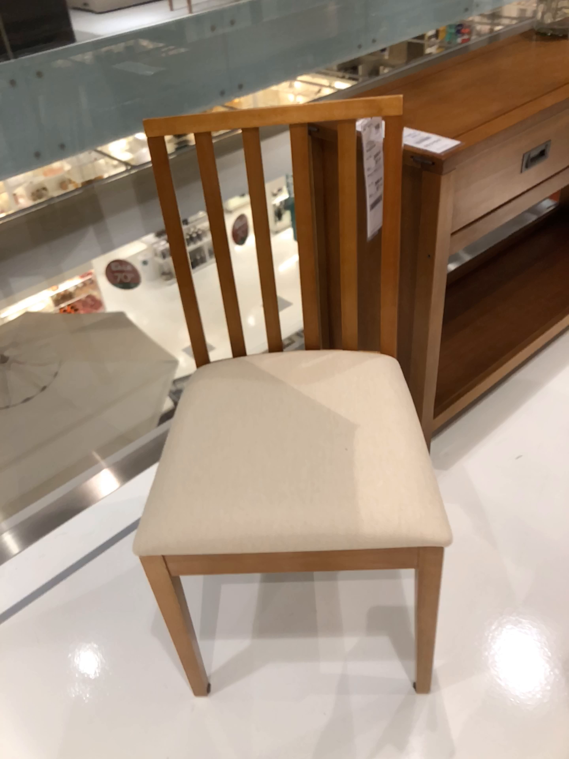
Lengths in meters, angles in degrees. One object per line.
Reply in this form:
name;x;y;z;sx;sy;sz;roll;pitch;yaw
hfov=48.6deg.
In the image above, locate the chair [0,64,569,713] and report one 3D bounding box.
chair;0.018;0.049;0.999;0.540;0.834;0.554;-4;39;3
